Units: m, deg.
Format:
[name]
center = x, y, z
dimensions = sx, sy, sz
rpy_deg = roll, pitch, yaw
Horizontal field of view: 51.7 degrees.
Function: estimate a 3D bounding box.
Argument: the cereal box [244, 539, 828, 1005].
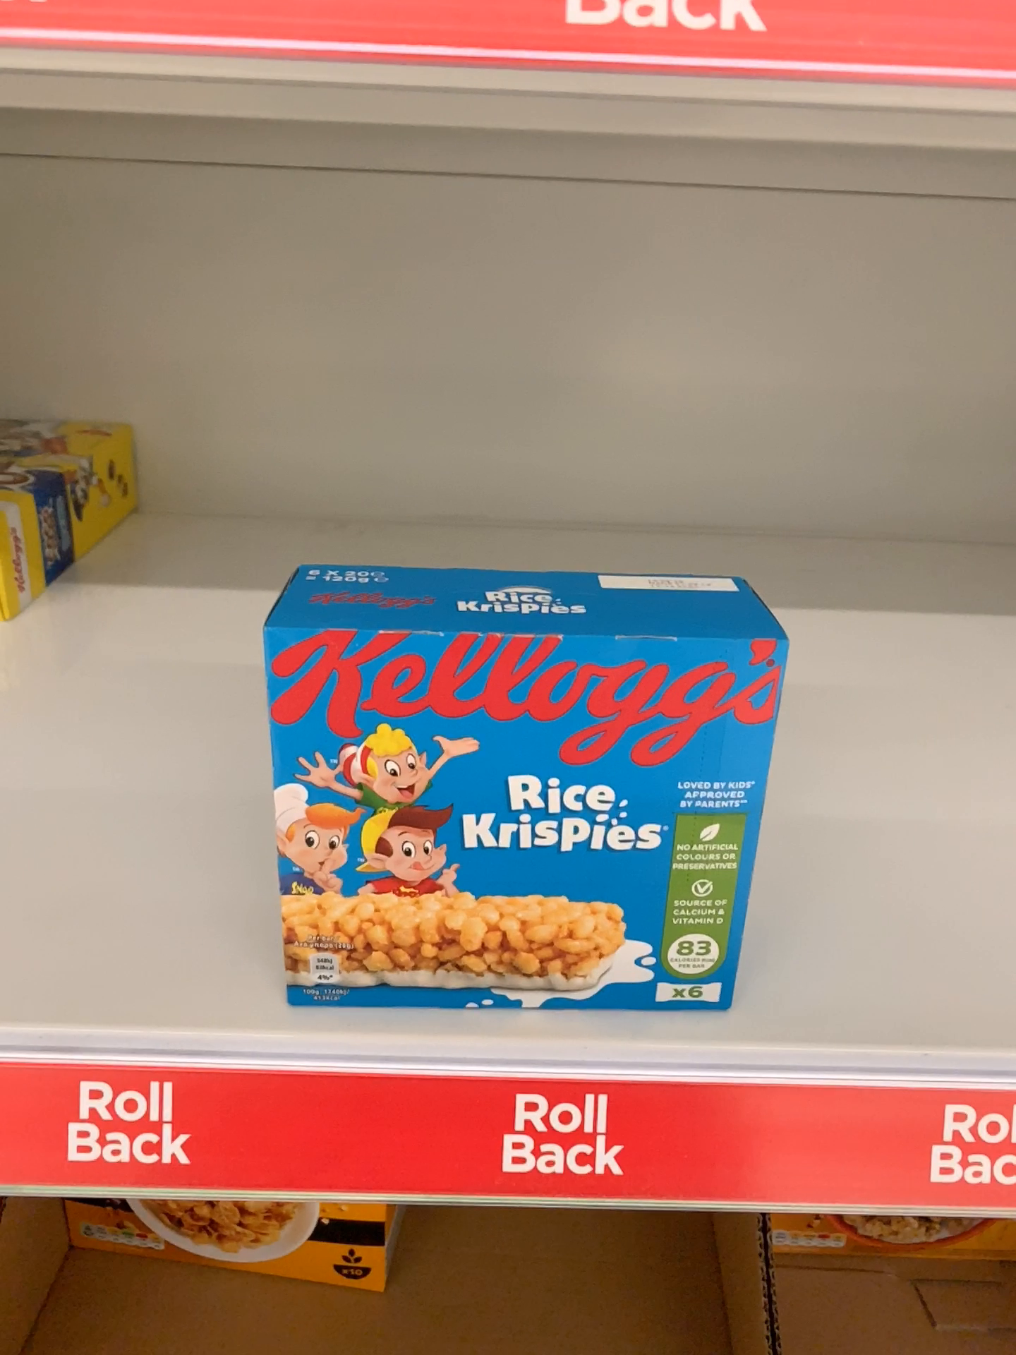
[cereal box]
center = 0.005, 0.030, 0.318
dimensions = 0.150, 0.129, 0.050
rpy_deg = 1, 25, -3
